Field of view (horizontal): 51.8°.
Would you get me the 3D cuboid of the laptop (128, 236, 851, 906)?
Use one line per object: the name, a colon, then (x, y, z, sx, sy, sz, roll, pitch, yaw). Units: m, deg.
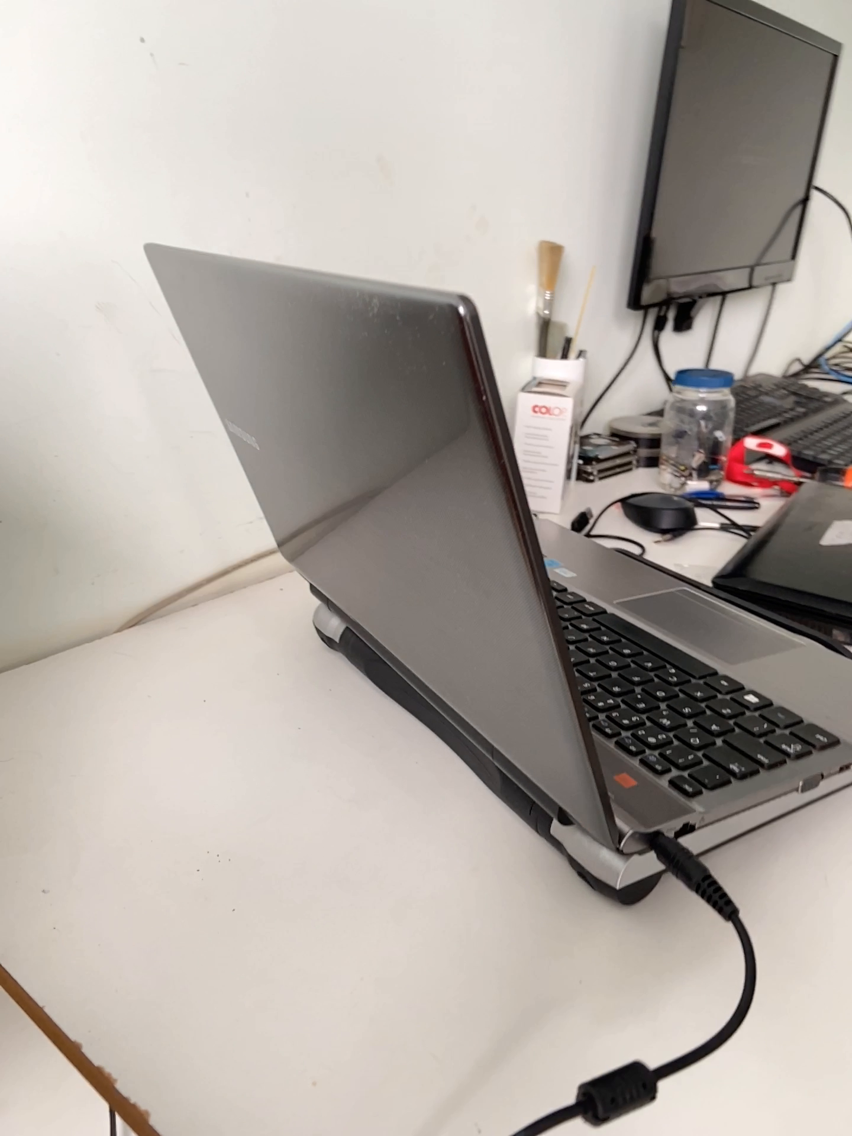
laptop: (0.054, -0.062, 0.503, 0.335, 0.213, 0.368, -9, 24, -29)
